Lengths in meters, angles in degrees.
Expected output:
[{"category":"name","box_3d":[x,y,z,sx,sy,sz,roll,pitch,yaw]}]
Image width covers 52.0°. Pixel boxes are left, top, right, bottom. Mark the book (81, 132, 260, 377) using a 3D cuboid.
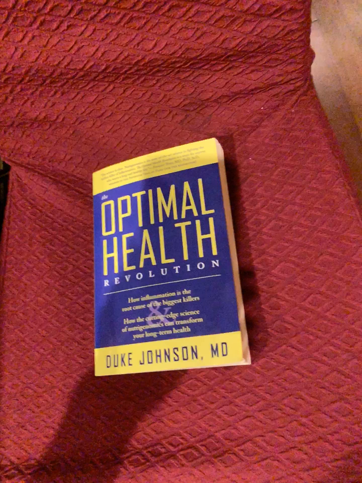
[{"category":"book","box_3d":[-0.019,0.018,0.389,0.161,0.060,0.222,-11,71,18]}]
